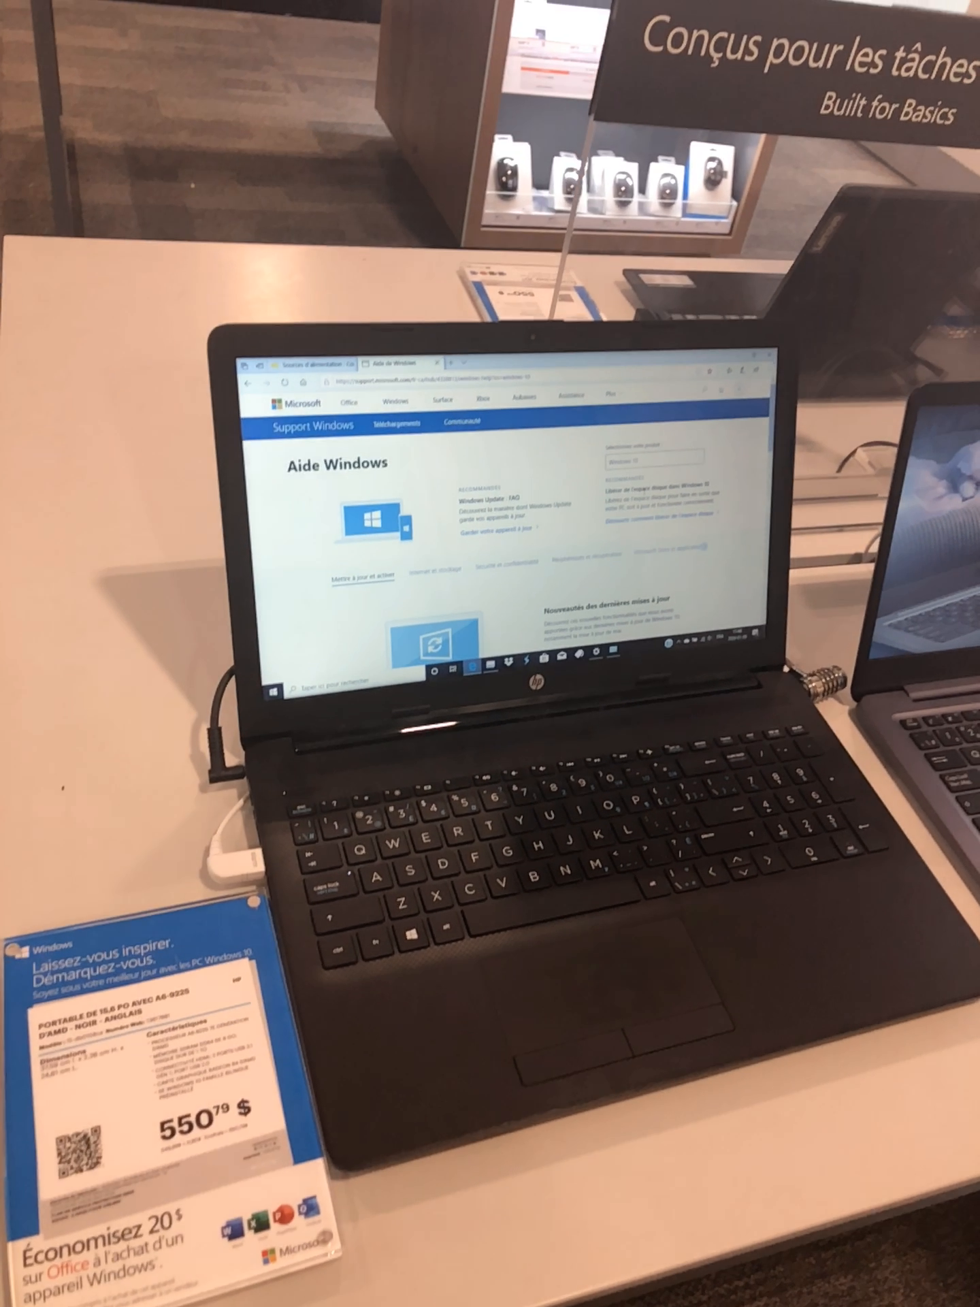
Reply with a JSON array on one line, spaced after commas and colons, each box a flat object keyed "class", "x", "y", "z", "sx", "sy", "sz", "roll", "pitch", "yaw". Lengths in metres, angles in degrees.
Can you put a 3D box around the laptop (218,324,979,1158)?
[{"class": "laptop", "x": 0.065, "y": 0.004, "z": 0.568, "sx": 0.356, "sy": 0.195, "sz": 0.360, "roll": -7, "pitch": 45, "yaw": -18}]
